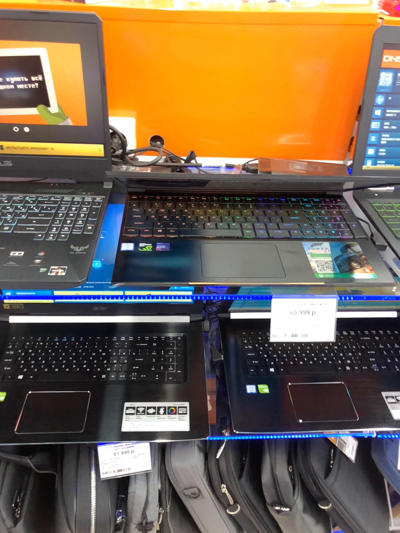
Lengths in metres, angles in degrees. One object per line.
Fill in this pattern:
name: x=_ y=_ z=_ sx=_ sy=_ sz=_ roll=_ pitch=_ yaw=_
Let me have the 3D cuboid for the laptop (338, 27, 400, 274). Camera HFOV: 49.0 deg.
laptop: x=0.446 y=-0.181 z=0.641 sx=0.334 sy=0.252 sz=0.308 roll=0 pitch=36 yaw=-5

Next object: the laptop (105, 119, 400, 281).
laptop: x=0.067 y=-0.103 z=0.615 sx=0.359 sy=0.118 sz=0.234 roll=0 pitch=38 yaw=-4
